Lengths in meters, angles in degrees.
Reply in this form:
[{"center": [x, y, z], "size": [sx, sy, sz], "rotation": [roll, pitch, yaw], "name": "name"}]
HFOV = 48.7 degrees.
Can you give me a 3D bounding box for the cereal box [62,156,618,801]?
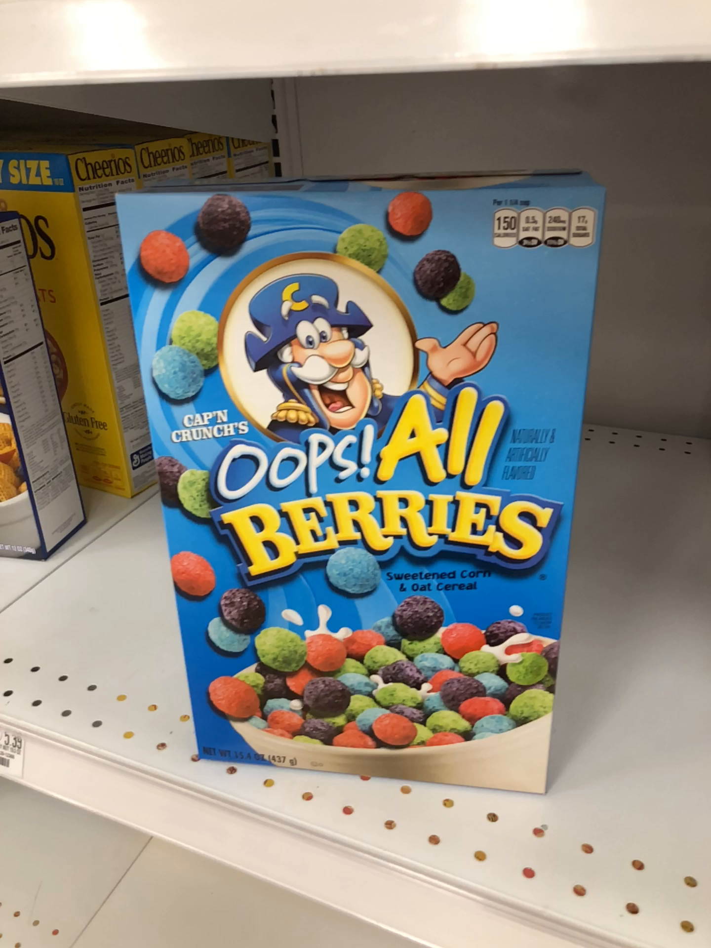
[{"center": [0.002, 0.014, 0.411], "size": [0.220, 0.319, 0.080], "rotation": [2, 27, 10], "name": "cereal box"}]
